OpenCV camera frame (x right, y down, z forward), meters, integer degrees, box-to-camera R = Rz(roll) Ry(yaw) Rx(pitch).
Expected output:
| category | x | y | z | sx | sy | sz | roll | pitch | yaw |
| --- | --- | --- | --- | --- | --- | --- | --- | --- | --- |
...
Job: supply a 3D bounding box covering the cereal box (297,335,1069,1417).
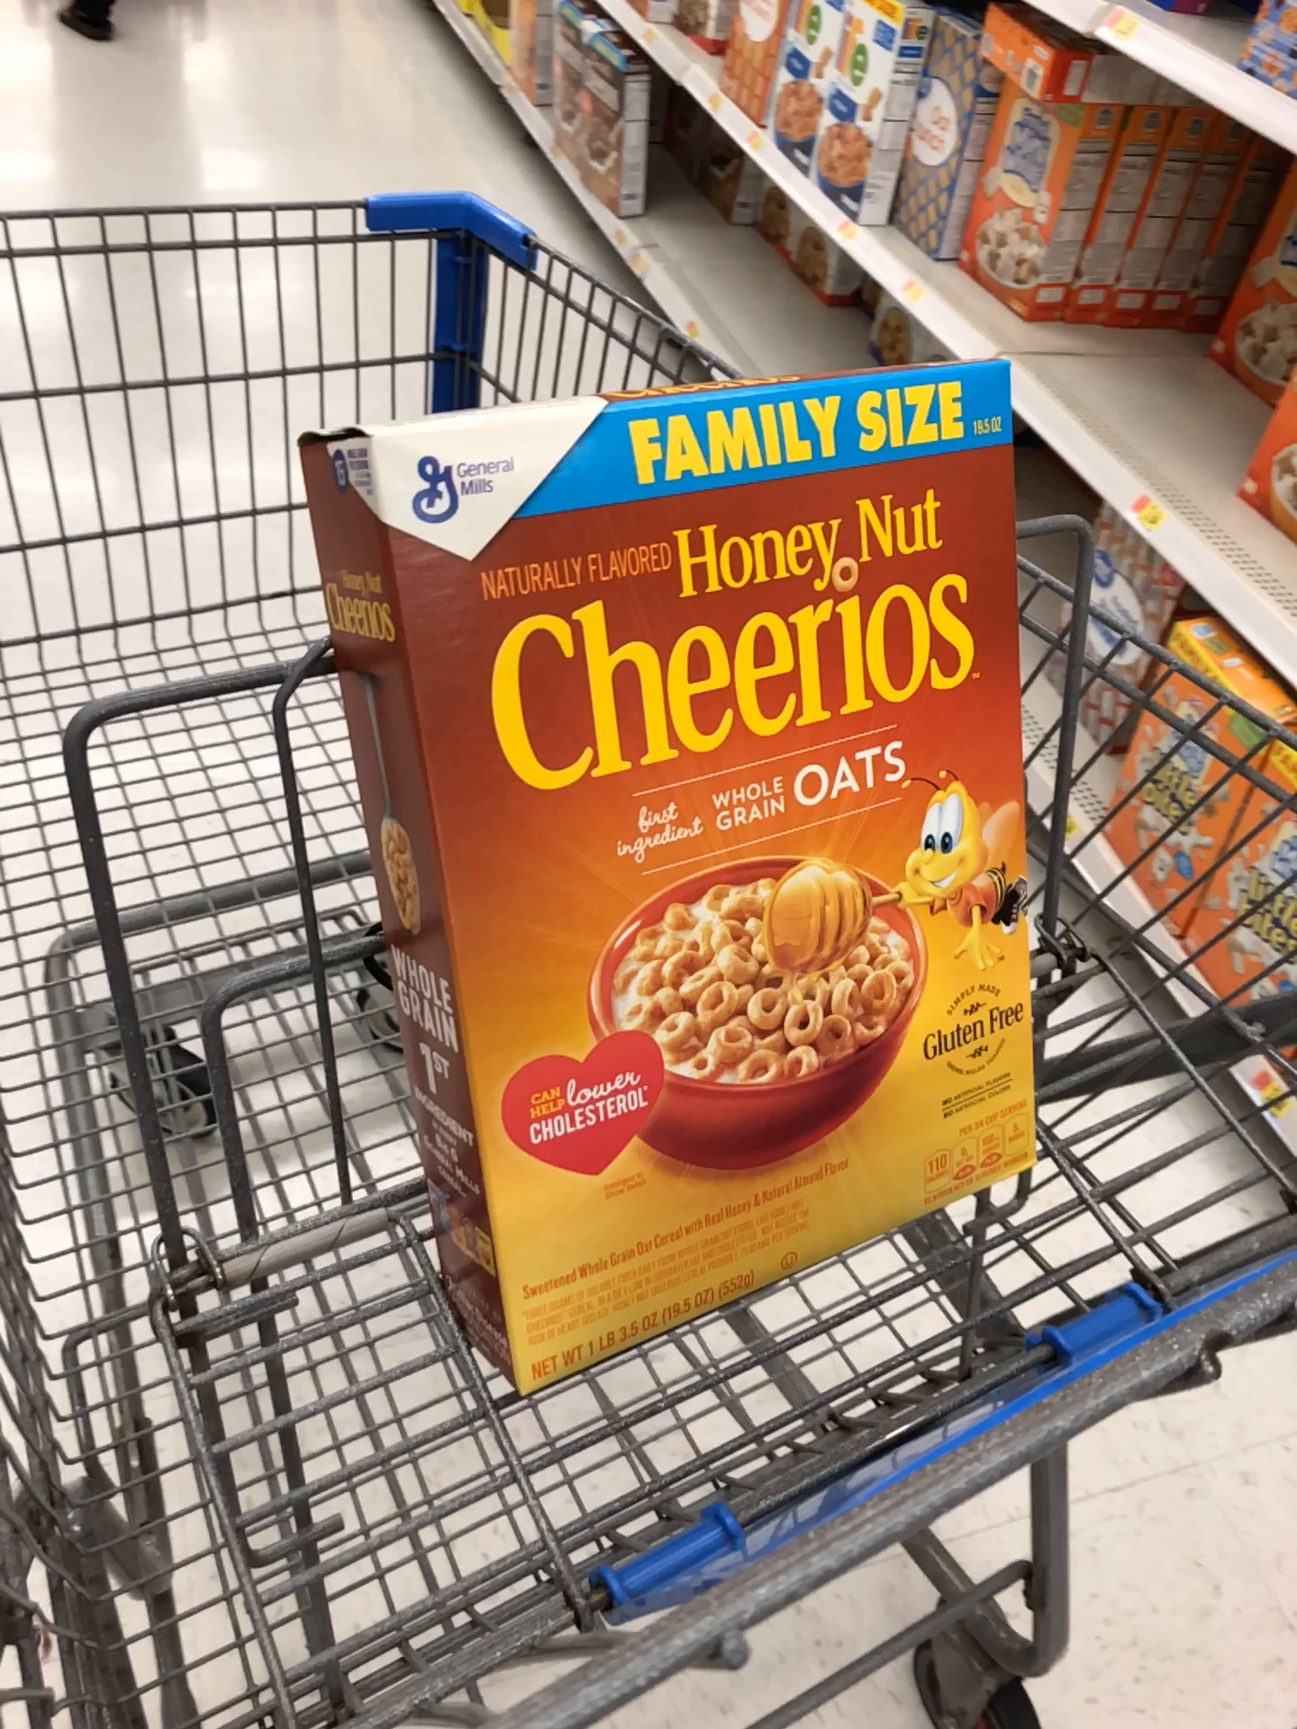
| category | x | y | z | sx | sy | sz | roll | pitch | yaw |
| --- | --- | --- | --- | --- | --- | --- | --- | --- | --- |
| cereal box | 0.033 | -0.005 | 0.519 | 0.250 | 0.330 | 0.070 | -15 | 20 | -26 |
